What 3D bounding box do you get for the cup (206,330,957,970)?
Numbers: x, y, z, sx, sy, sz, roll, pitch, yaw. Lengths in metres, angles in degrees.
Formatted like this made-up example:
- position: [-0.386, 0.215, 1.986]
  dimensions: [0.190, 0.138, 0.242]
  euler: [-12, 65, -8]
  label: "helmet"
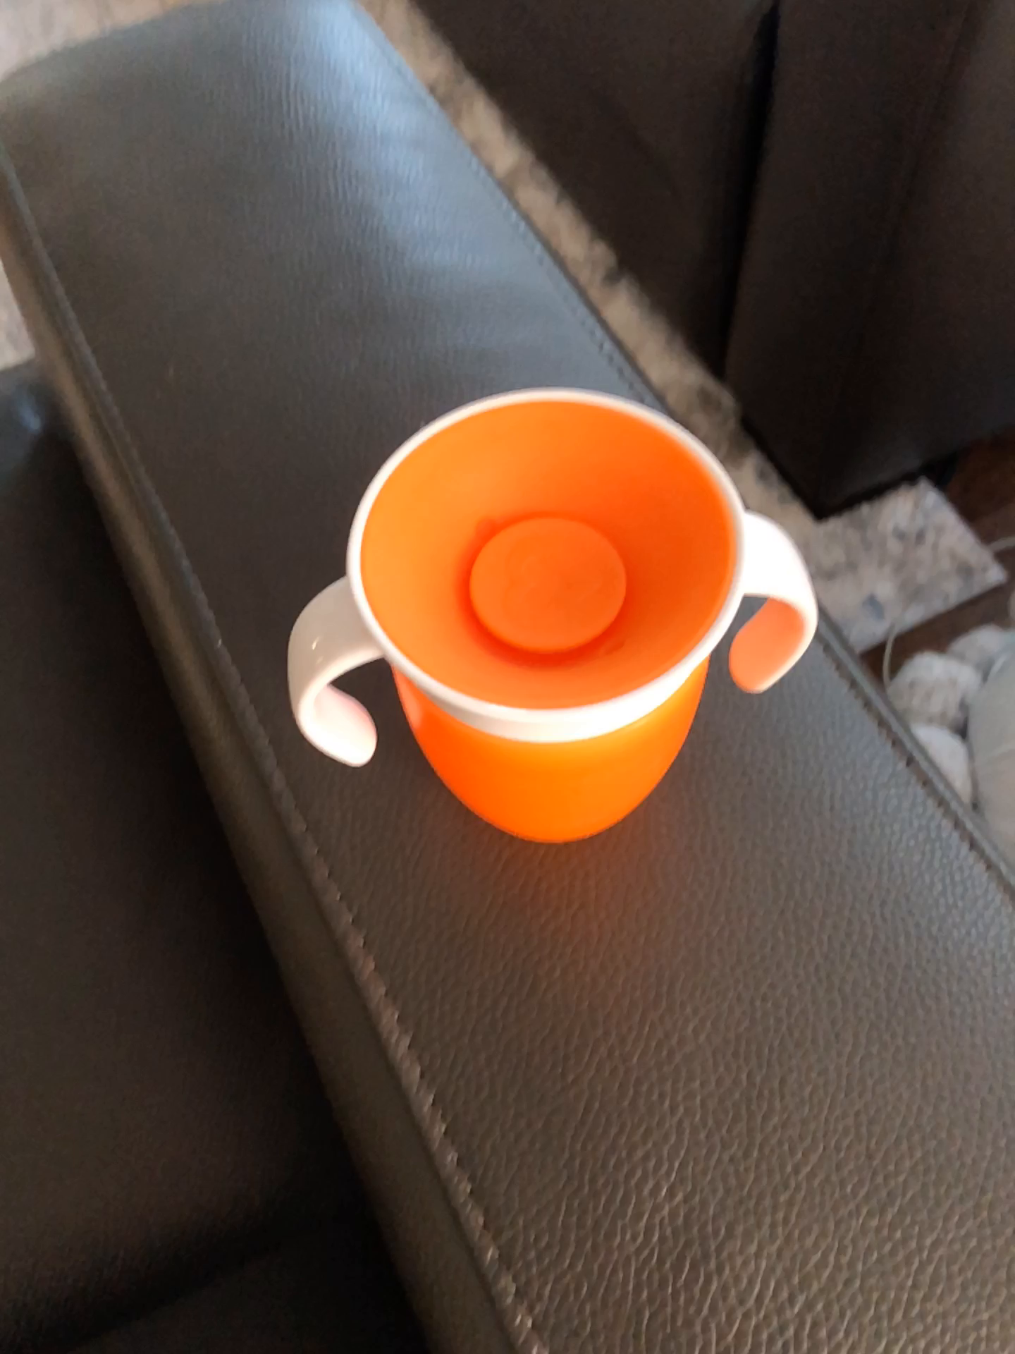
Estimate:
- position: [0.012, -0.002, 0.261]
  dimensions: [0.126, 0.096, 0.082]
  euler: [-14, 62, -5]
  label: "cup"
